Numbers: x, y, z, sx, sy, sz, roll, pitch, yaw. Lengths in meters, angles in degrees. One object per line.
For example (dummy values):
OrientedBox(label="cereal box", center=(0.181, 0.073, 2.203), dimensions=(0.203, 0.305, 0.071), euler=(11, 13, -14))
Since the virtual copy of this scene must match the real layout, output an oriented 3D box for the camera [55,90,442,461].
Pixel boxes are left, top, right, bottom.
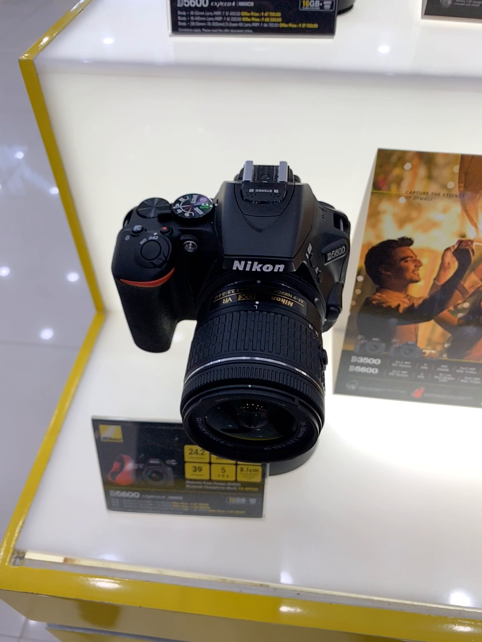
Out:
OrientedBox(label="camera", center=(0.007, -0.031, 0.243), dimensions=(0.120, 0.090, 0.160), euler=(2, 48, 3))
